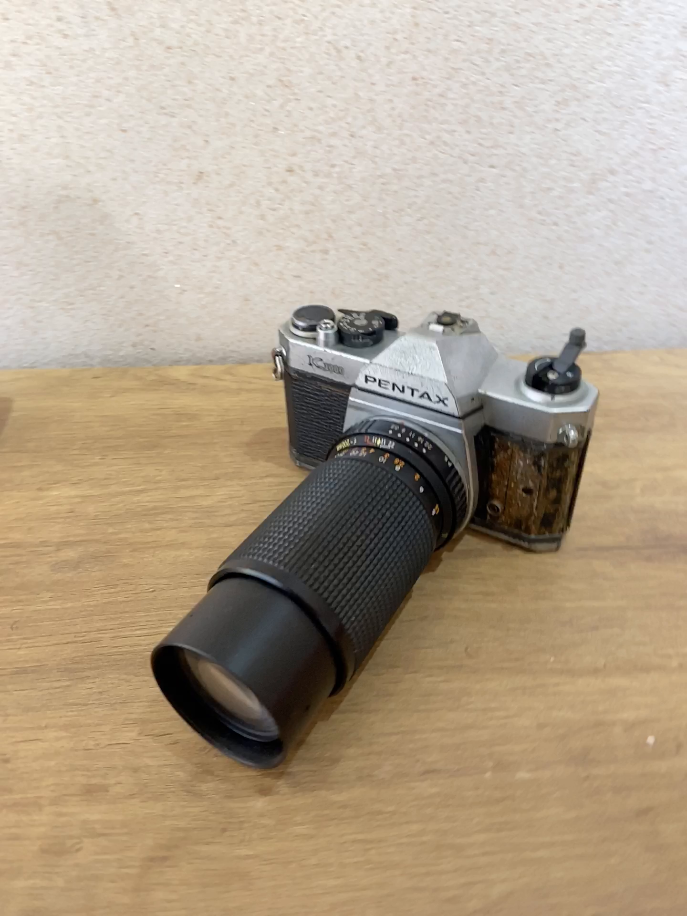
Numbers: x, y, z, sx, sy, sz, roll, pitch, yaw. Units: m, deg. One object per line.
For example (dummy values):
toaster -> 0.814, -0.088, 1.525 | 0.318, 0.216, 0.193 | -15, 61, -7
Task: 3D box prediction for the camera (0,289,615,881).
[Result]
camera -> -0.002, 0.017, 0.268 | 0.150, 0.080, 0.181 | 16, 39, 24
